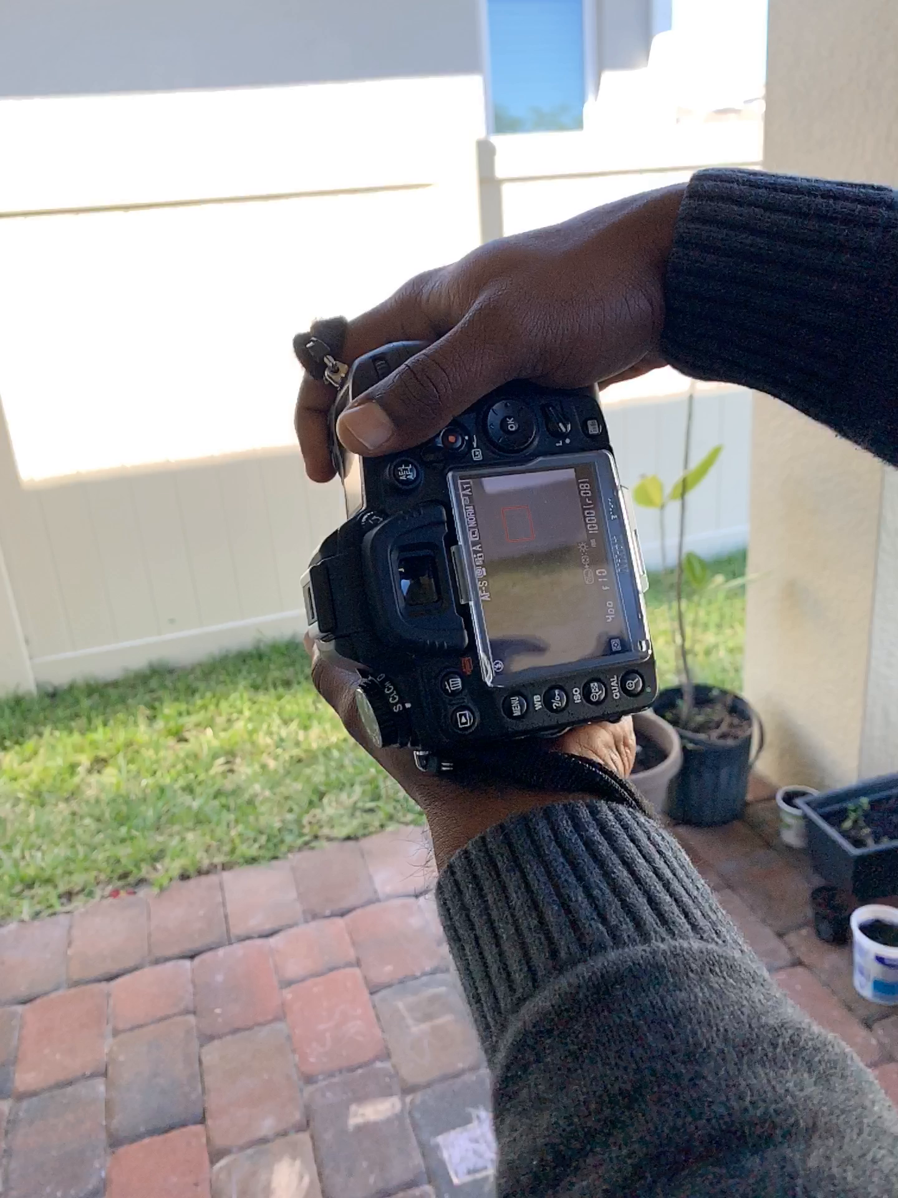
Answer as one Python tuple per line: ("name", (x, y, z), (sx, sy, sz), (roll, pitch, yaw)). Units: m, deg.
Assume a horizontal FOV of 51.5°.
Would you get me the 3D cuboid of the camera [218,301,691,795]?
("camera", (-0.015, -0.012, 0.314), (0.090, 0.110, 0.170), (-11, 0, -18))
